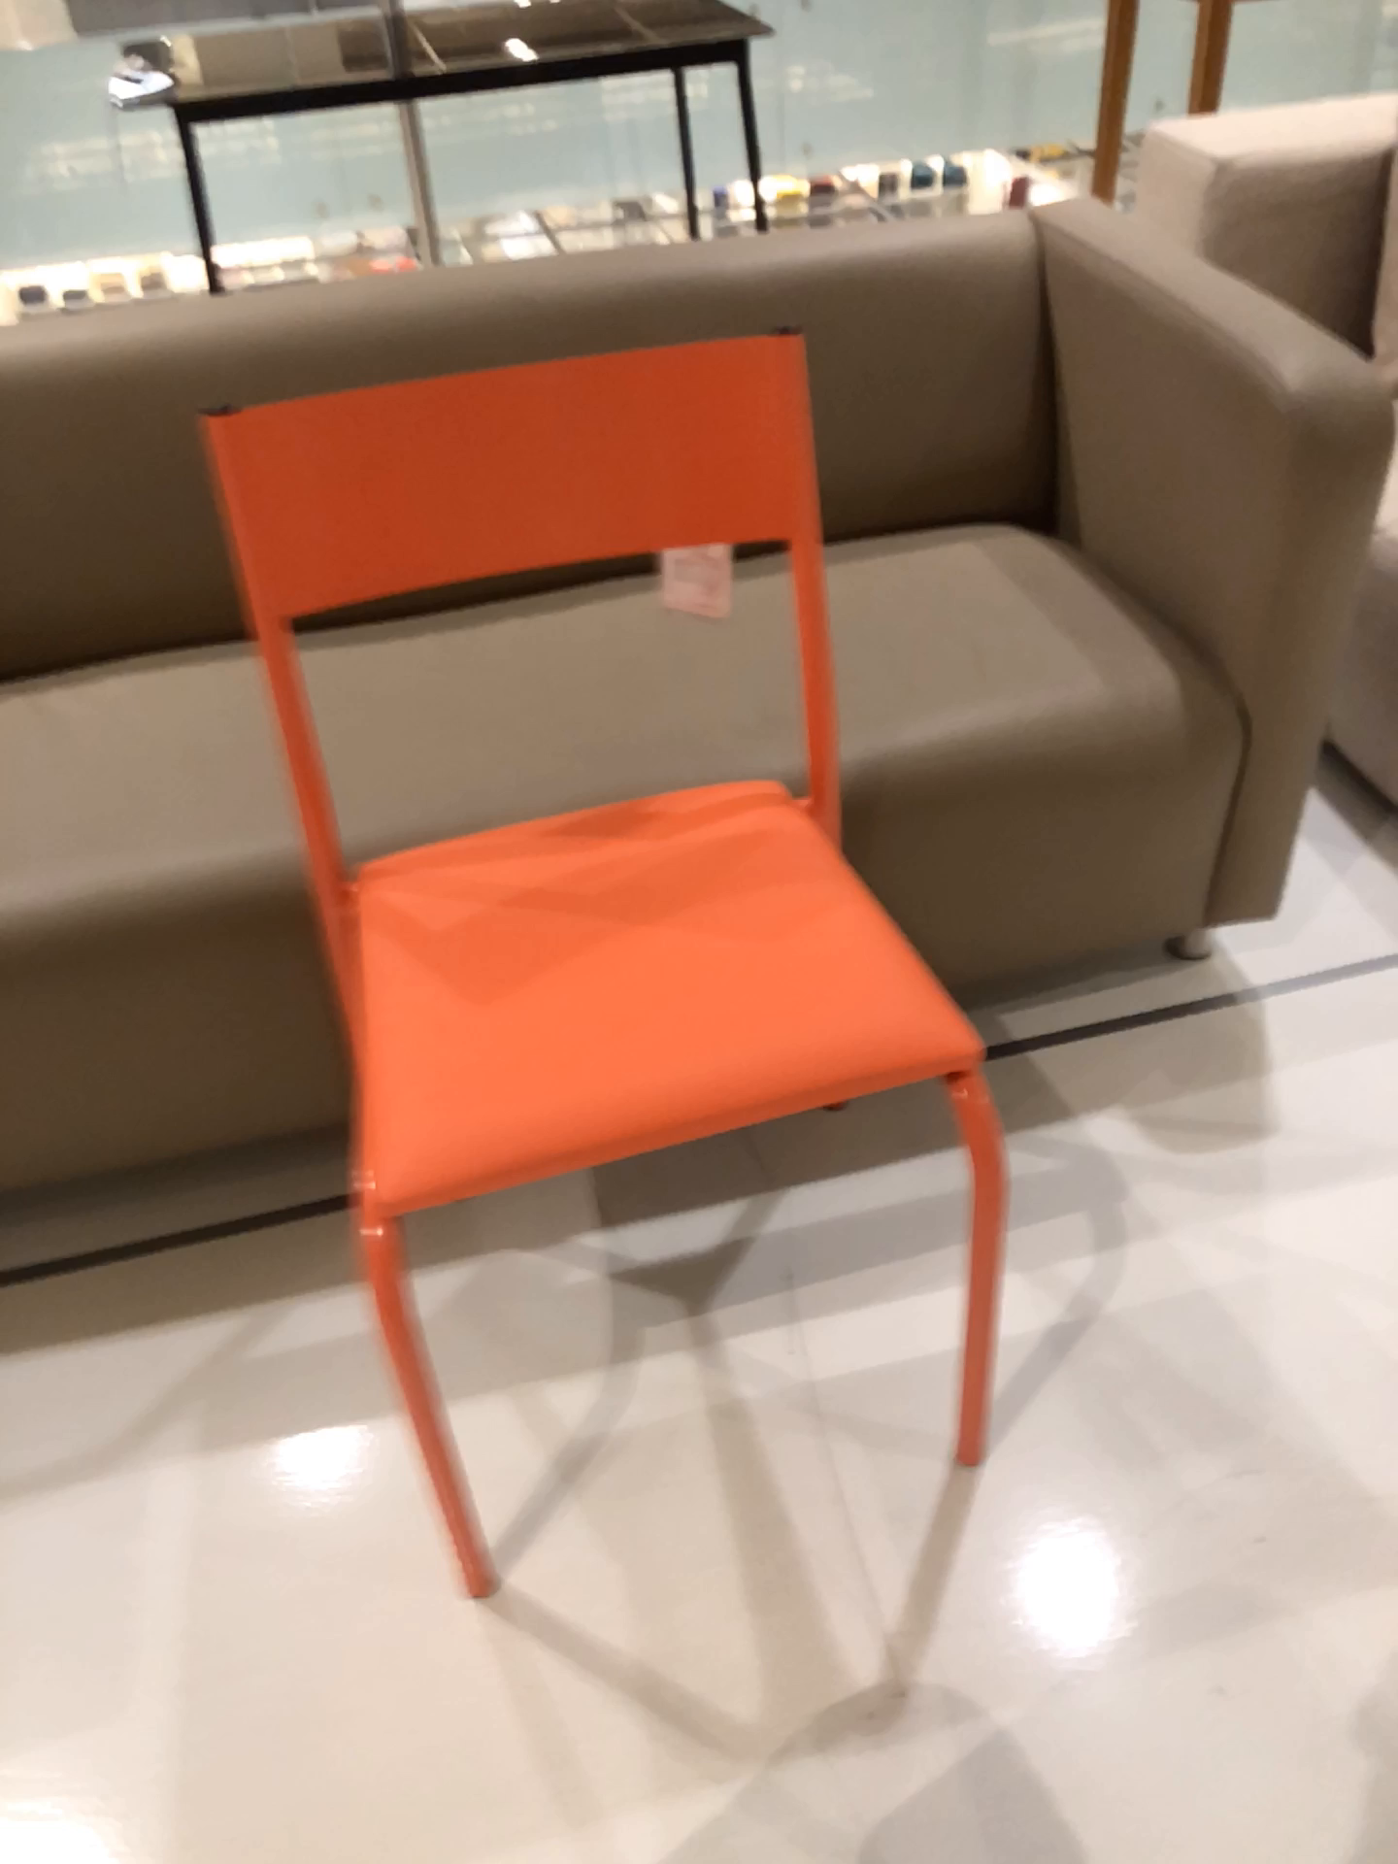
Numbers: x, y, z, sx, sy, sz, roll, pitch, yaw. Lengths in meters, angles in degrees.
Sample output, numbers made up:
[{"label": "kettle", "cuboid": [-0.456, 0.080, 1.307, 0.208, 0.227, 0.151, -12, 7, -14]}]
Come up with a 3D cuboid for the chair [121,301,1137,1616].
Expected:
[{"label": "chair", "cuboid": [-0.055, 0.028, 1.173, 0.500, 0.785, 0.493, -11, 39, -9]}]
